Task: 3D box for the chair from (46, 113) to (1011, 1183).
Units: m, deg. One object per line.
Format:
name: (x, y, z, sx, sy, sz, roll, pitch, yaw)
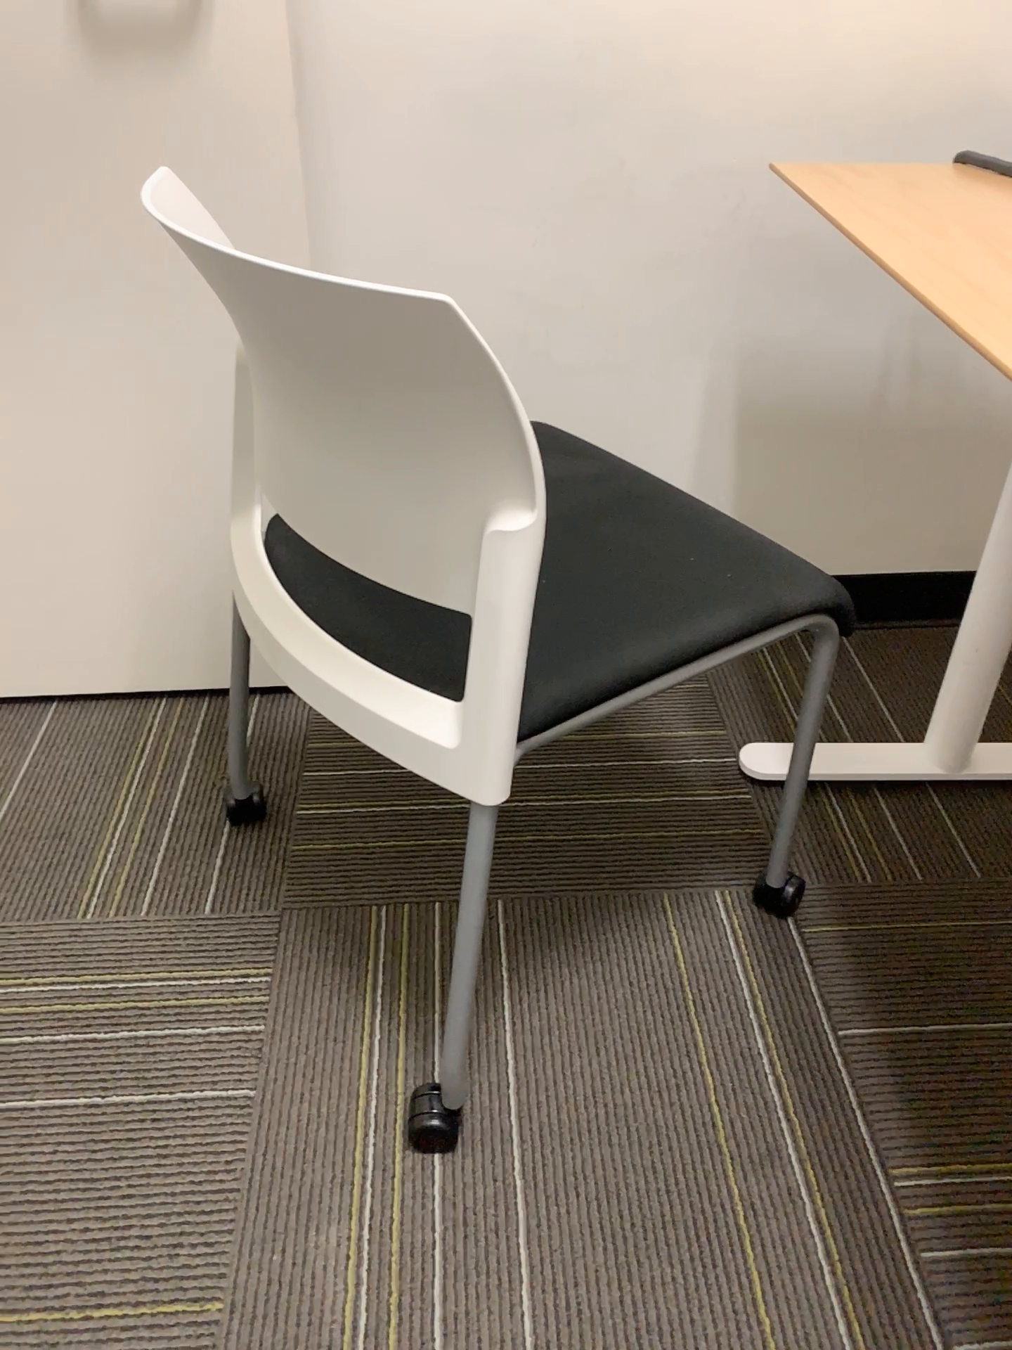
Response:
chair: (-0.007, -0.087, 1.057, 0.580, 0.755, 0.613, -20, 40, -25)
